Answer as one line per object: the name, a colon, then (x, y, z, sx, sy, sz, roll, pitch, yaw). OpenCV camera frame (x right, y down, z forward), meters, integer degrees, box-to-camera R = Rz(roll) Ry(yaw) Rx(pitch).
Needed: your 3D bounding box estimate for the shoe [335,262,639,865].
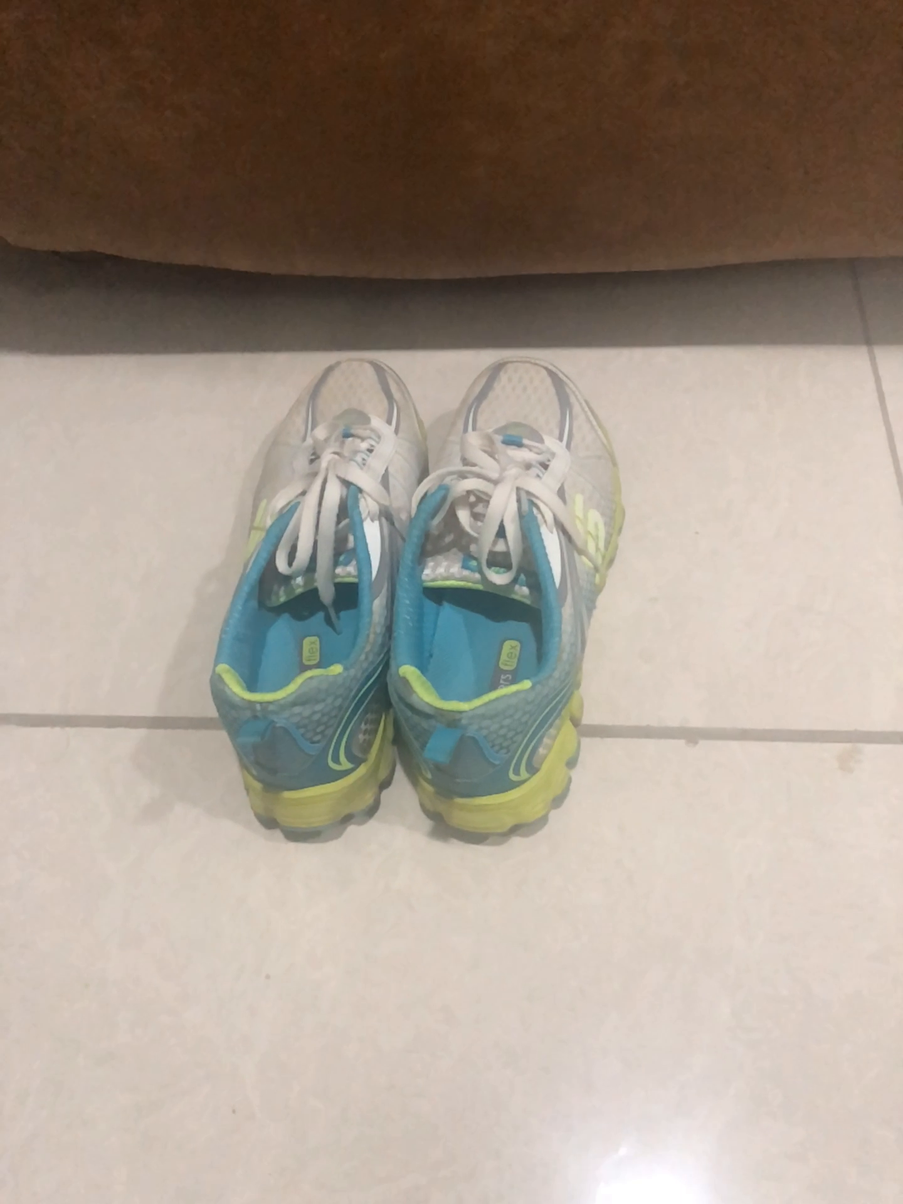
shoe: (0.033, -0.034, 0.511, 0.110, 0.100, 0.300, 3, 57, 9)

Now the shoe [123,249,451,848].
shoe: (-0.064, -0.039, 0.509, 0.100, 0.100, 0.300, -1, 56, 7)
